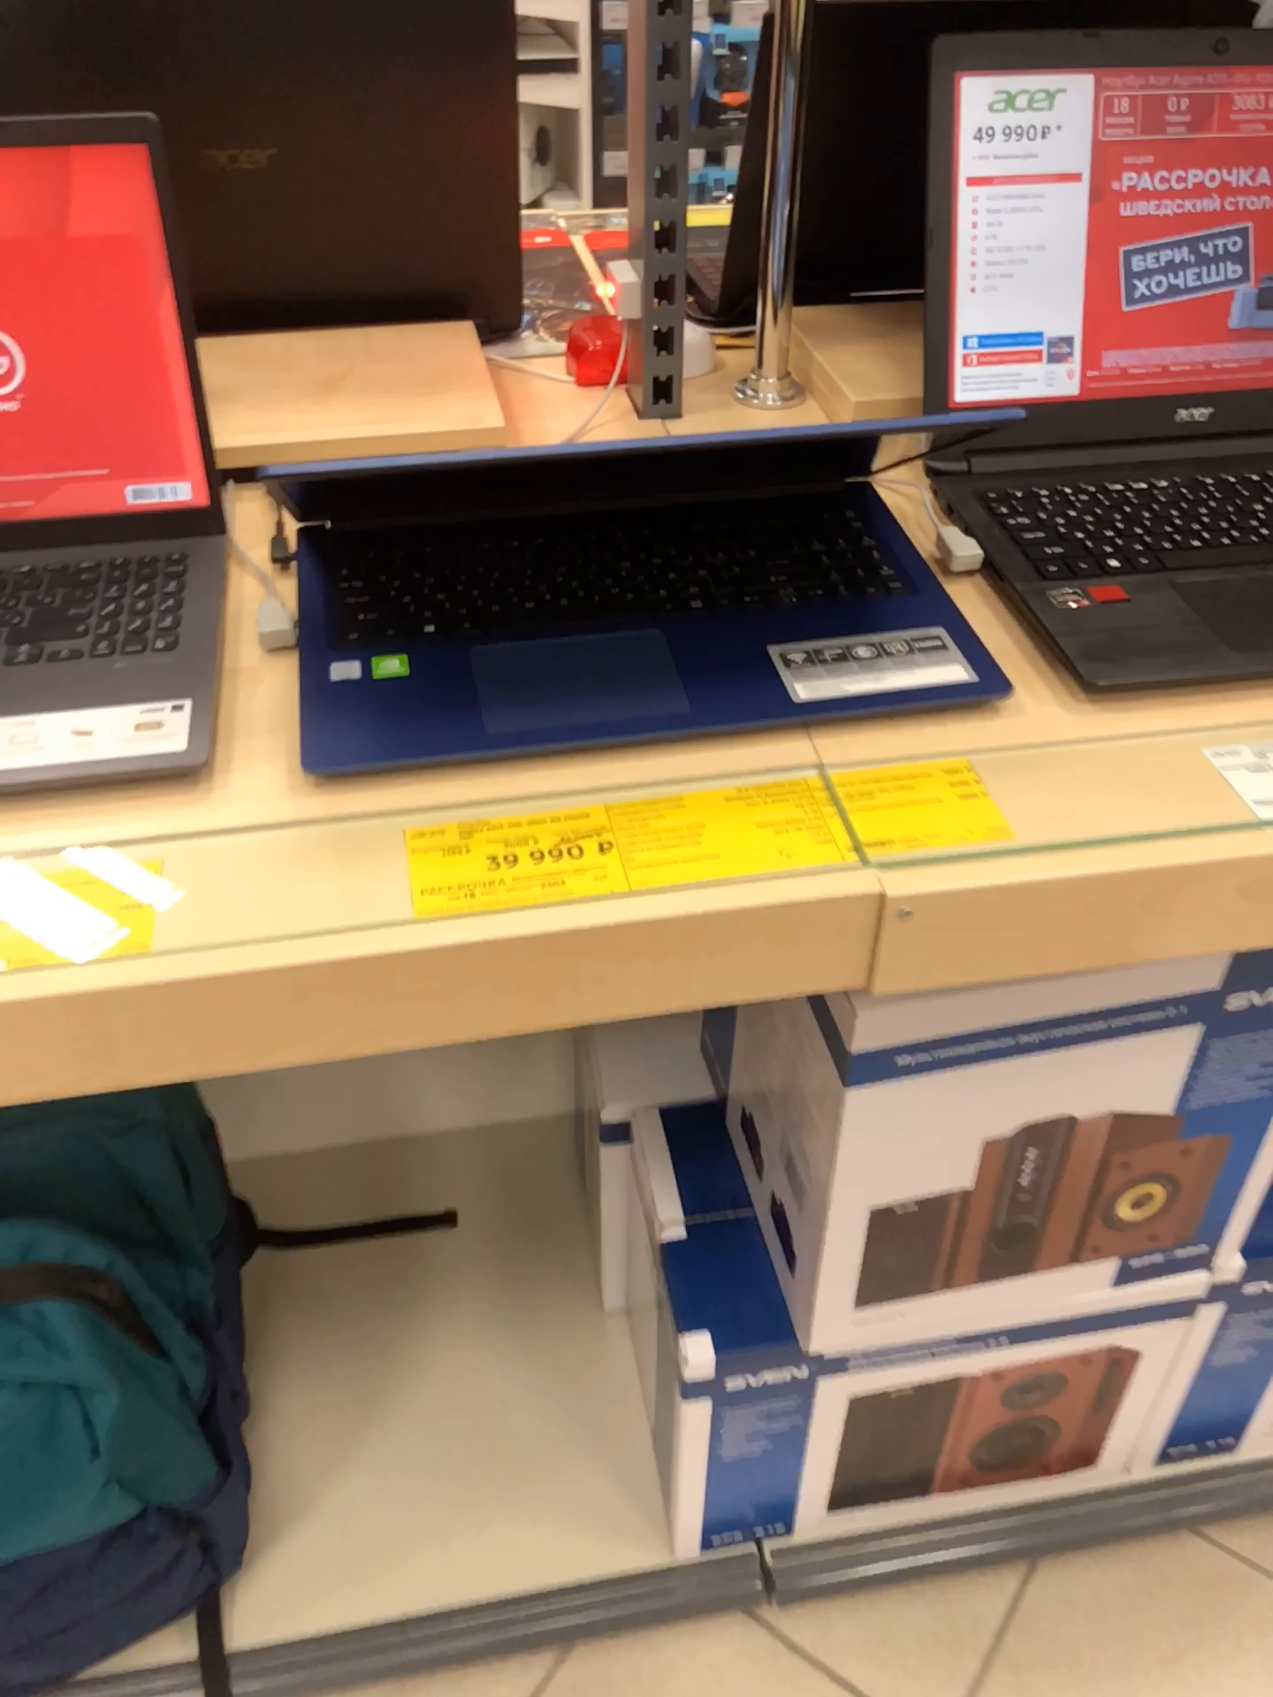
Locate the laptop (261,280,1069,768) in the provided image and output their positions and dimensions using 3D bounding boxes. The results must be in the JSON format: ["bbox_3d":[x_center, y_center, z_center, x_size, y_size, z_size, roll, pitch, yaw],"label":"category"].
[{"bbox_3d":[-0.002,-0.189,0.754,0.367,0.126,0.247,-7,40,-7],"label":"laptop"}]

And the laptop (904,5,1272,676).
[{"bbox_3d":[0.388,-0.314,0.810,0.357,0.227,0.355,-5,40,-5],"label":"laptop"}]

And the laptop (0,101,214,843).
[{"bbox_3d":[-0.439,-0.207,0.693,0.390,0.206,0.303,-6,42,-8],"label":"laptop"}]
